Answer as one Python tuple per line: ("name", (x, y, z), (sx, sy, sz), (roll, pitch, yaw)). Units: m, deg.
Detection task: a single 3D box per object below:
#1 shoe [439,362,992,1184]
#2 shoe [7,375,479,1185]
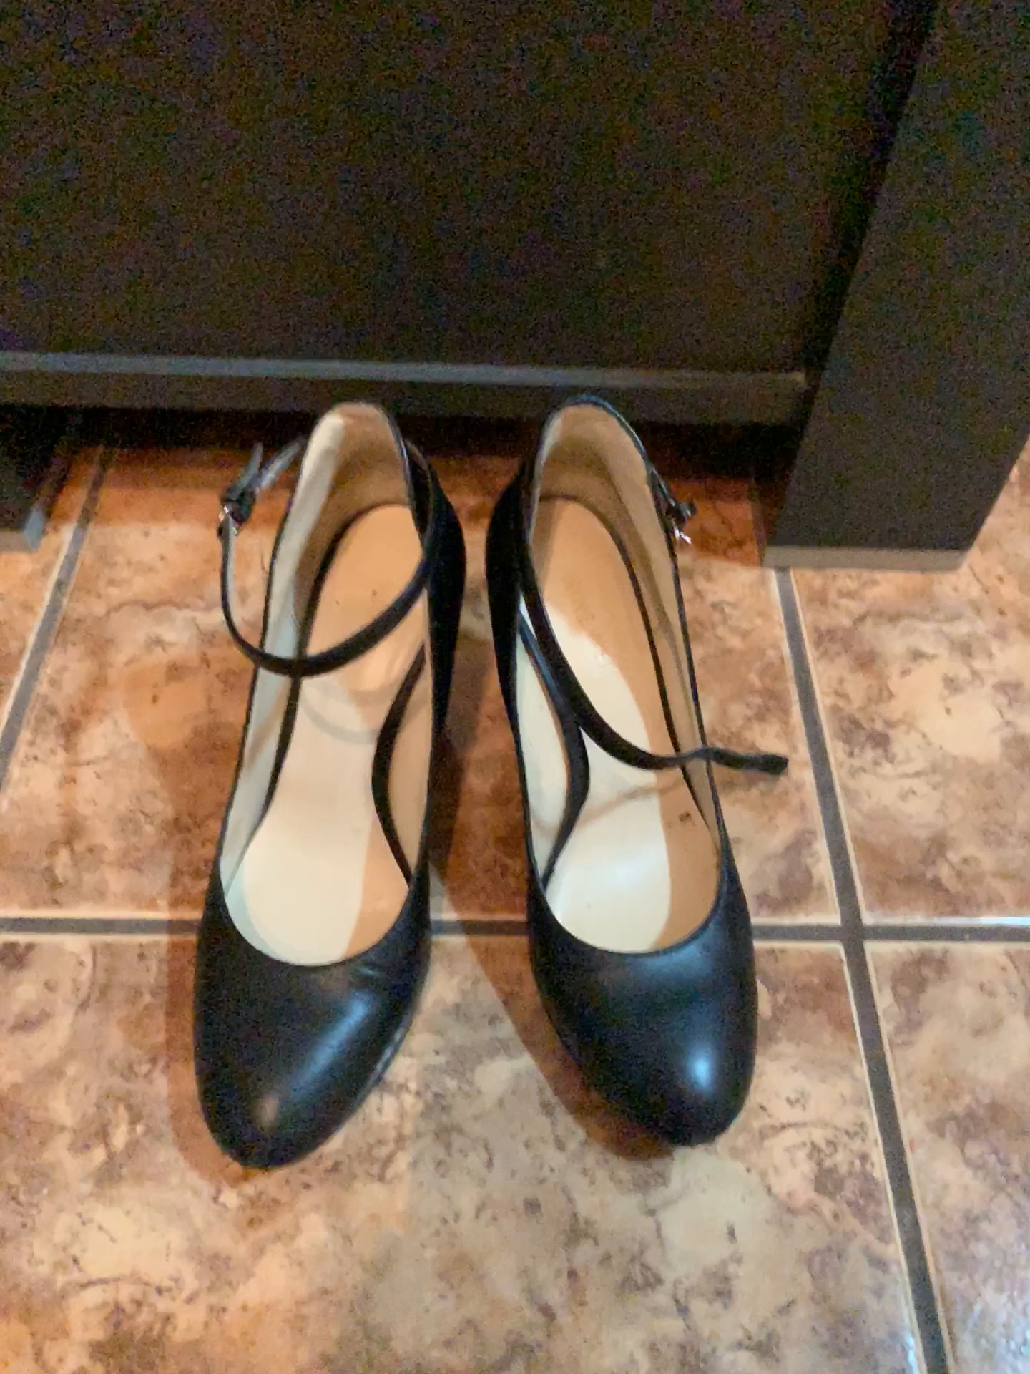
("shoe", (0.037, 0.023, 0.337), (0.087, 0.140, 0.210), (-8, 54, -8))
("shoe", (-0.060, 0.031, 0.339), (0.079, 0.159, 0.201), (4, 53, 1))
